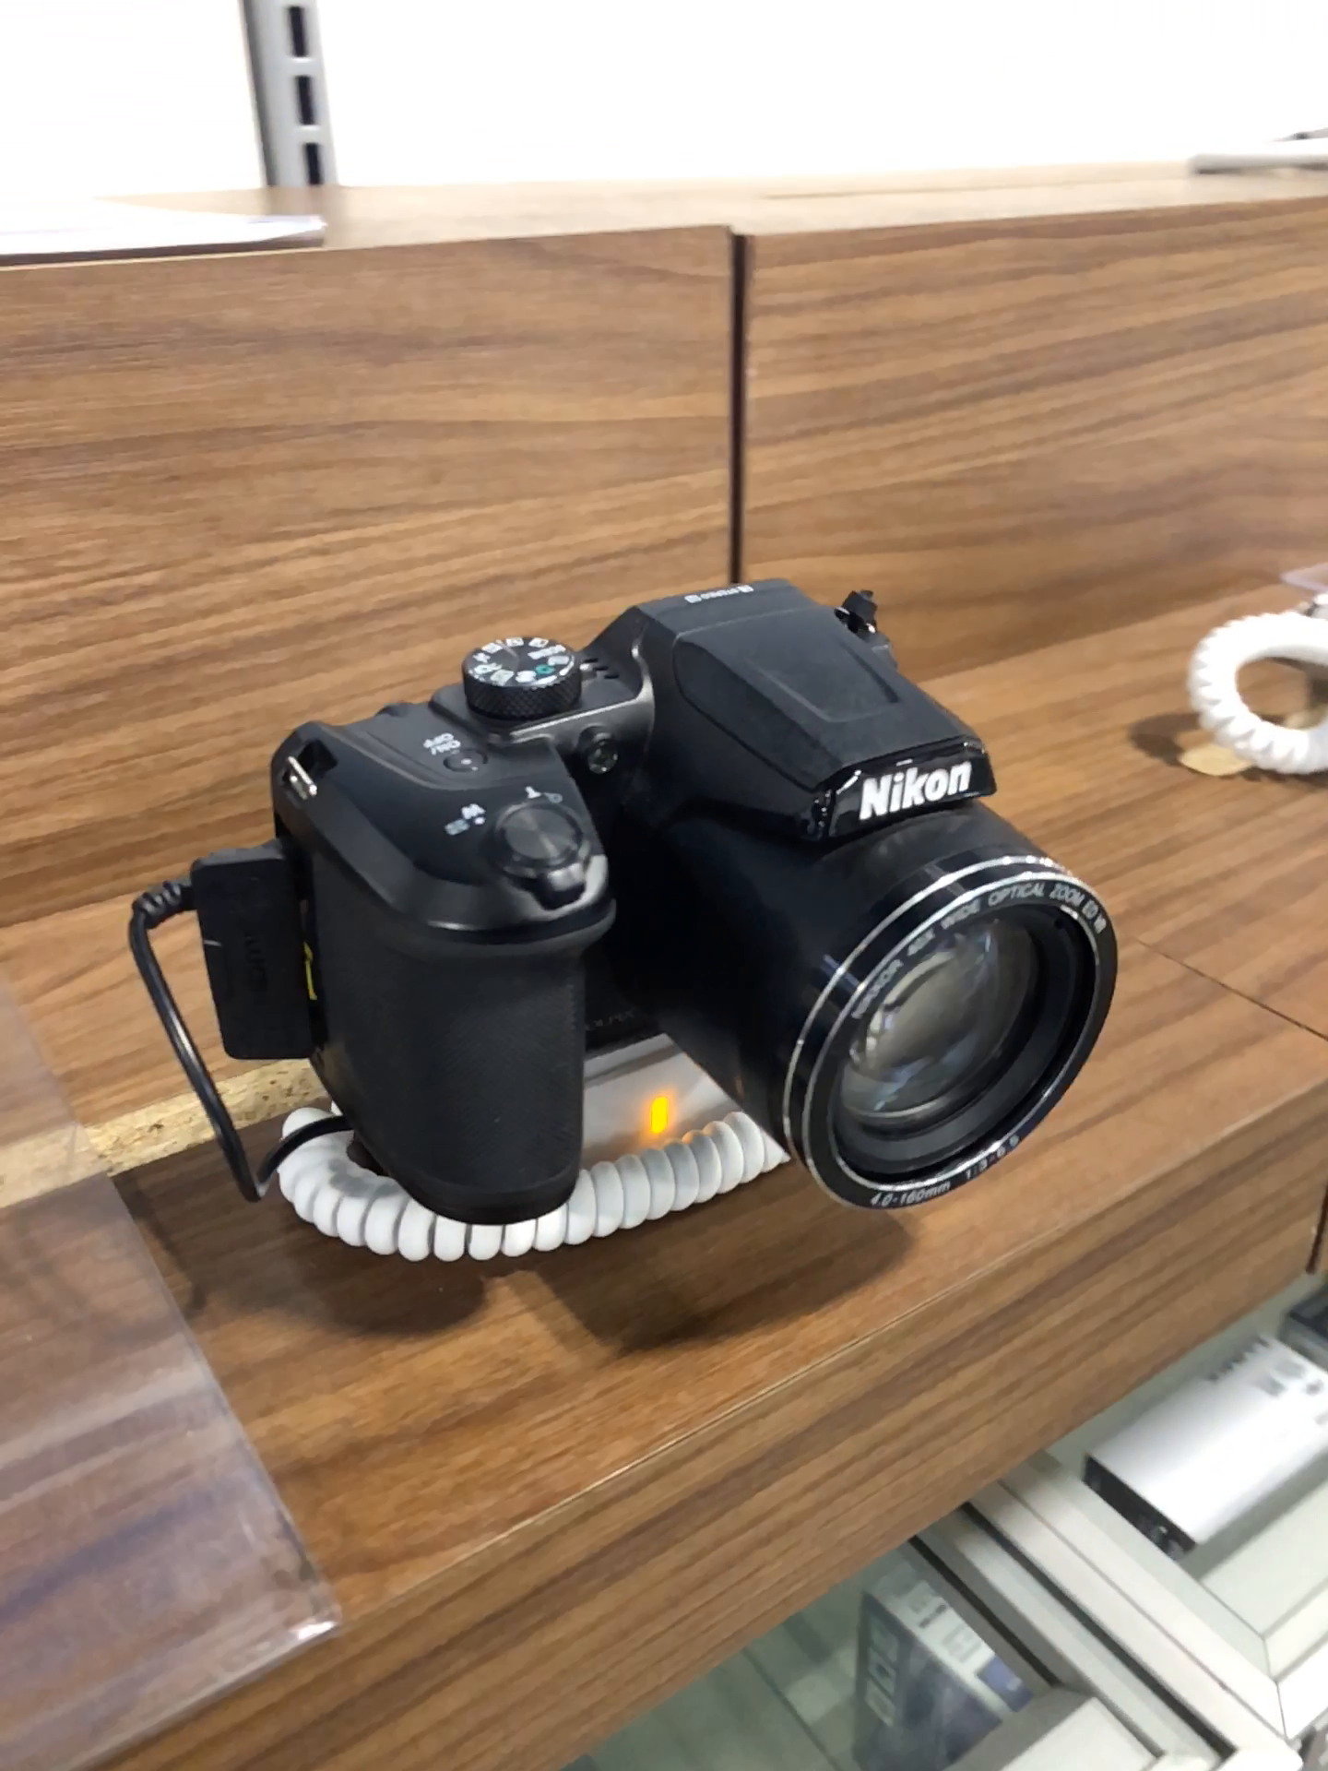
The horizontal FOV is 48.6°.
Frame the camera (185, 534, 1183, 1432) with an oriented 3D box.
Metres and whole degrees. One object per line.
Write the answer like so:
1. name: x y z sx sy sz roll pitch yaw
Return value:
1. camera: -0.001 0.001 0.242 0.110 0.079 0.111 -17 31 -28
